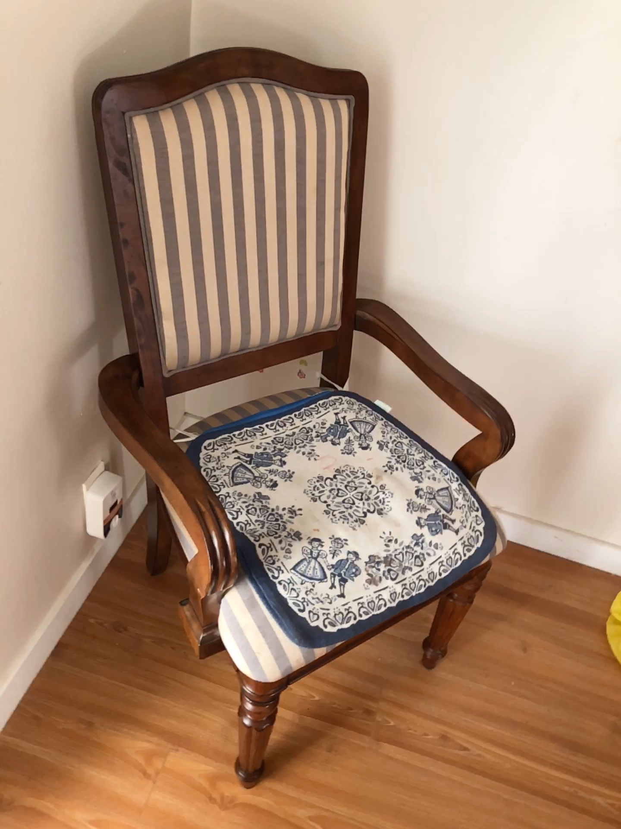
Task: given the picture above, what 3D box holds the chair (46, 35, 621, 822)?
[{"bbox_3d":[0.008,0.055,1.106,0.531,1.043,0.583,-22,51,-30],"label":"chair"}]
